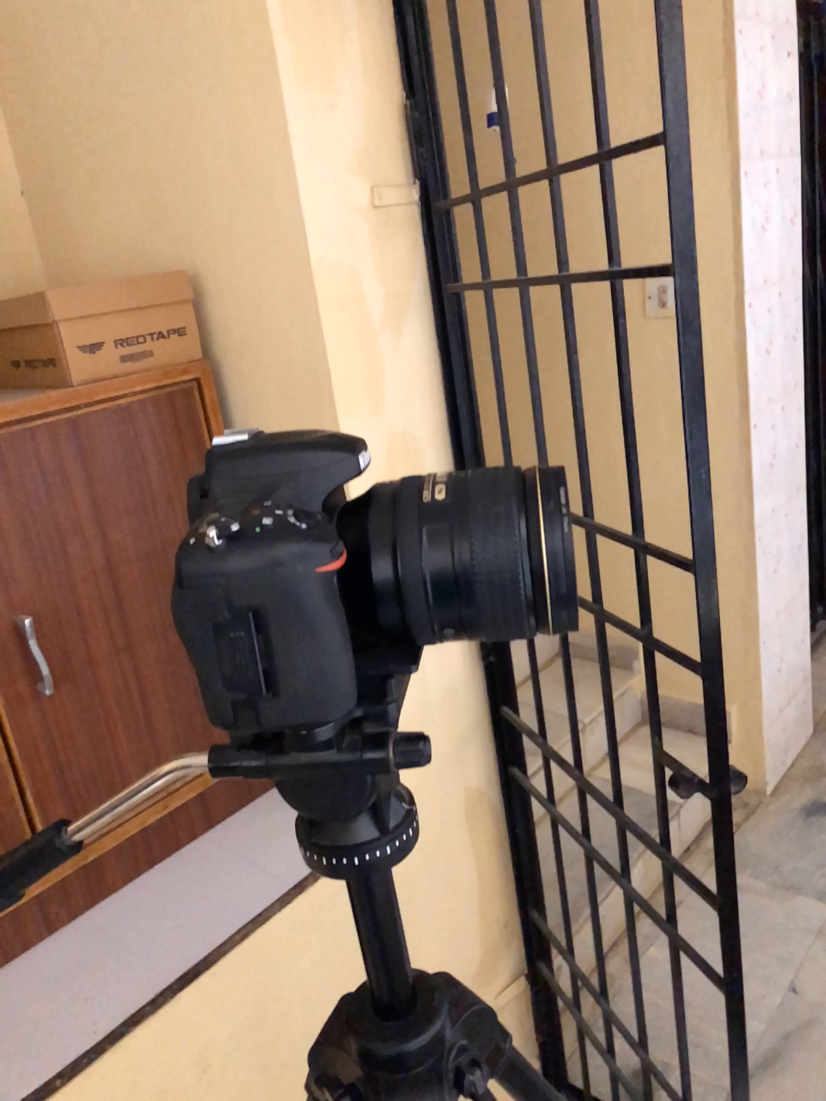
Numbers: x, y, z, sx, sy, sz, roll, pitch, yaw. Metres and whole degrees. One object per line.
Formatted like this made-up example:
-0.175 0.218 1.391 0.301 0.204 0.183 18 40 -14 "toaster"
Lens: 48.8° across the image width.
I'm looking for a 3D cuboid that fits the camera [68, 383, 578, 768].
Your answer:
-0.022 0.000 0.408 0.171 0.105 0.171 -6 17 9 "camera"
